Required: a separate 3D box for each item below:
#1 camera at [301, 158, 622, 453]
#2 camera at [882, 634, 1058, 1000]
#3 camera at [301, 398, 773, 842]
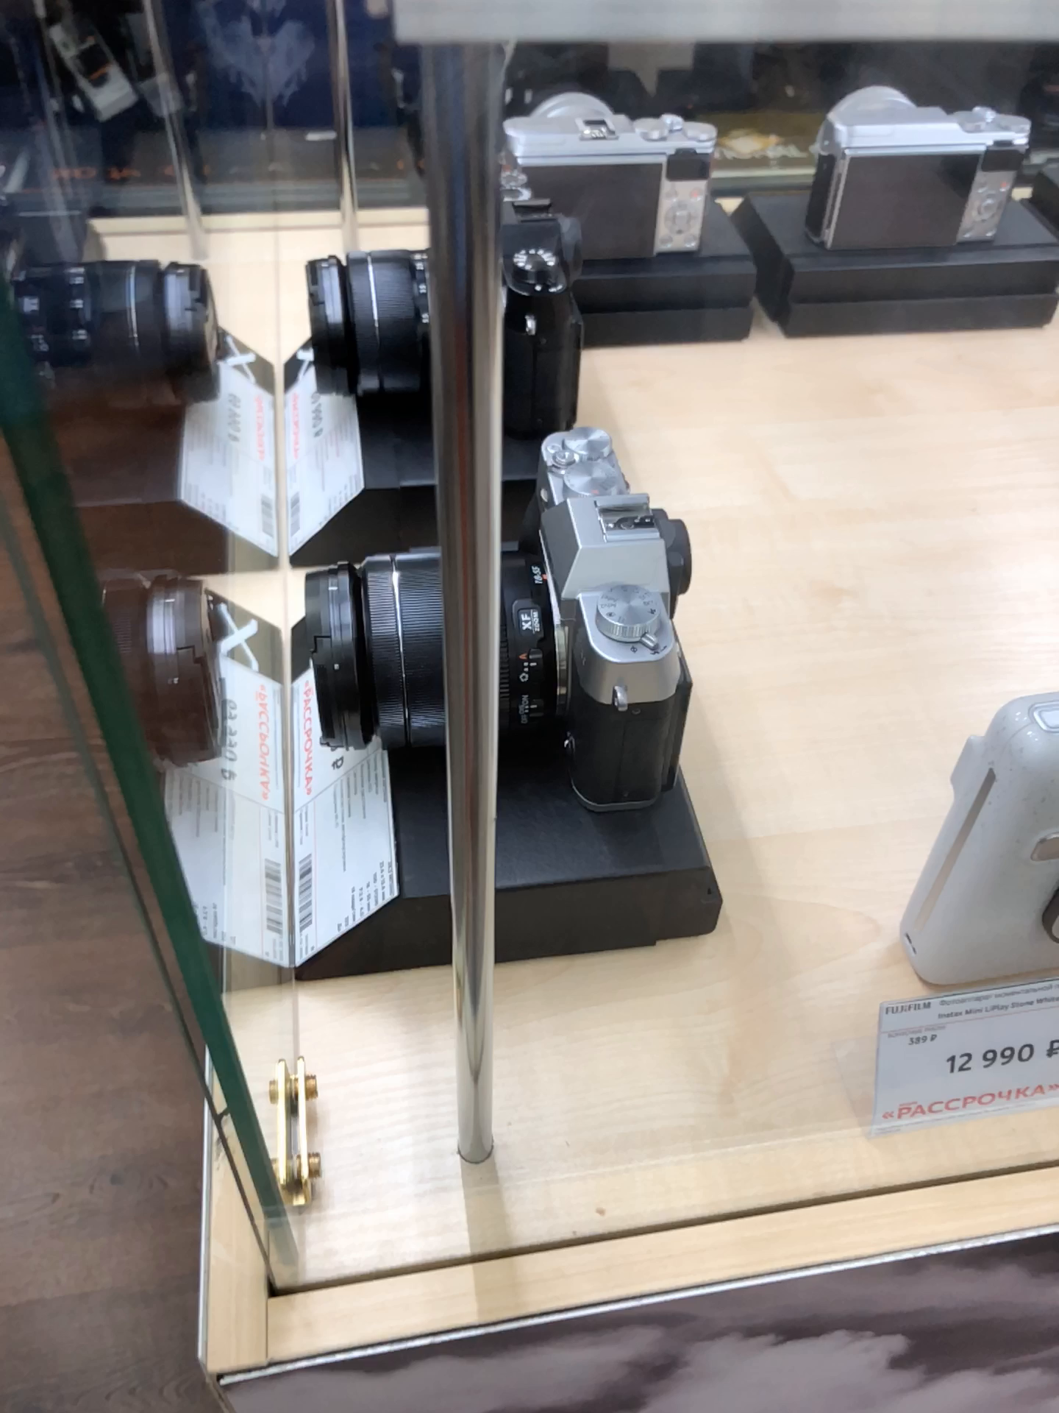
[{"bbox_3d":[-0.035,-0.189,0.548,0.130,0.080,0.124,-3,47,-6],"label":"camera"},{"bbox_3d":[0.172,0.036,0.356,0.094,0.110,0.039,-6,47,-9],"label":"camera"},{"bbox_3d":[-0.005,-0.033,0.393,0.130,0.080,0.124,-3,47,-6],"label":"camera"}]
